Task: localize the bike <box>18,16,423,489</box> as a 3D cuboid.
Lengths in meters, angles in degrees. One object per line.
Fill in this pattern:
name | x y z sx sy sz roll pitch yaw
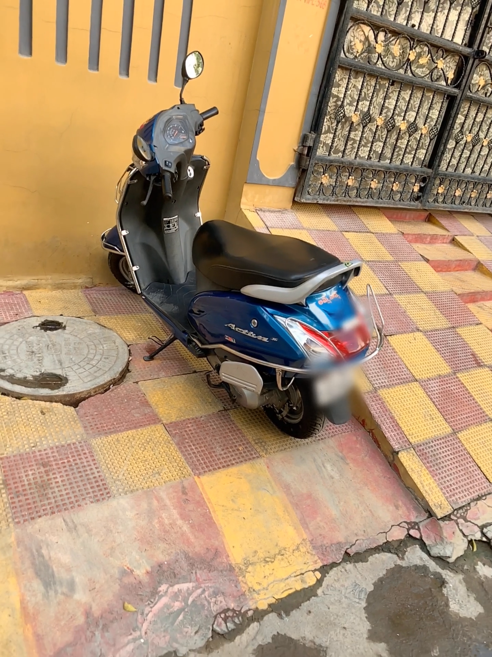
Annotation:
bike | -0.282 -0.398 2.038 0.597 1.098 1.529 -14 41 -44
